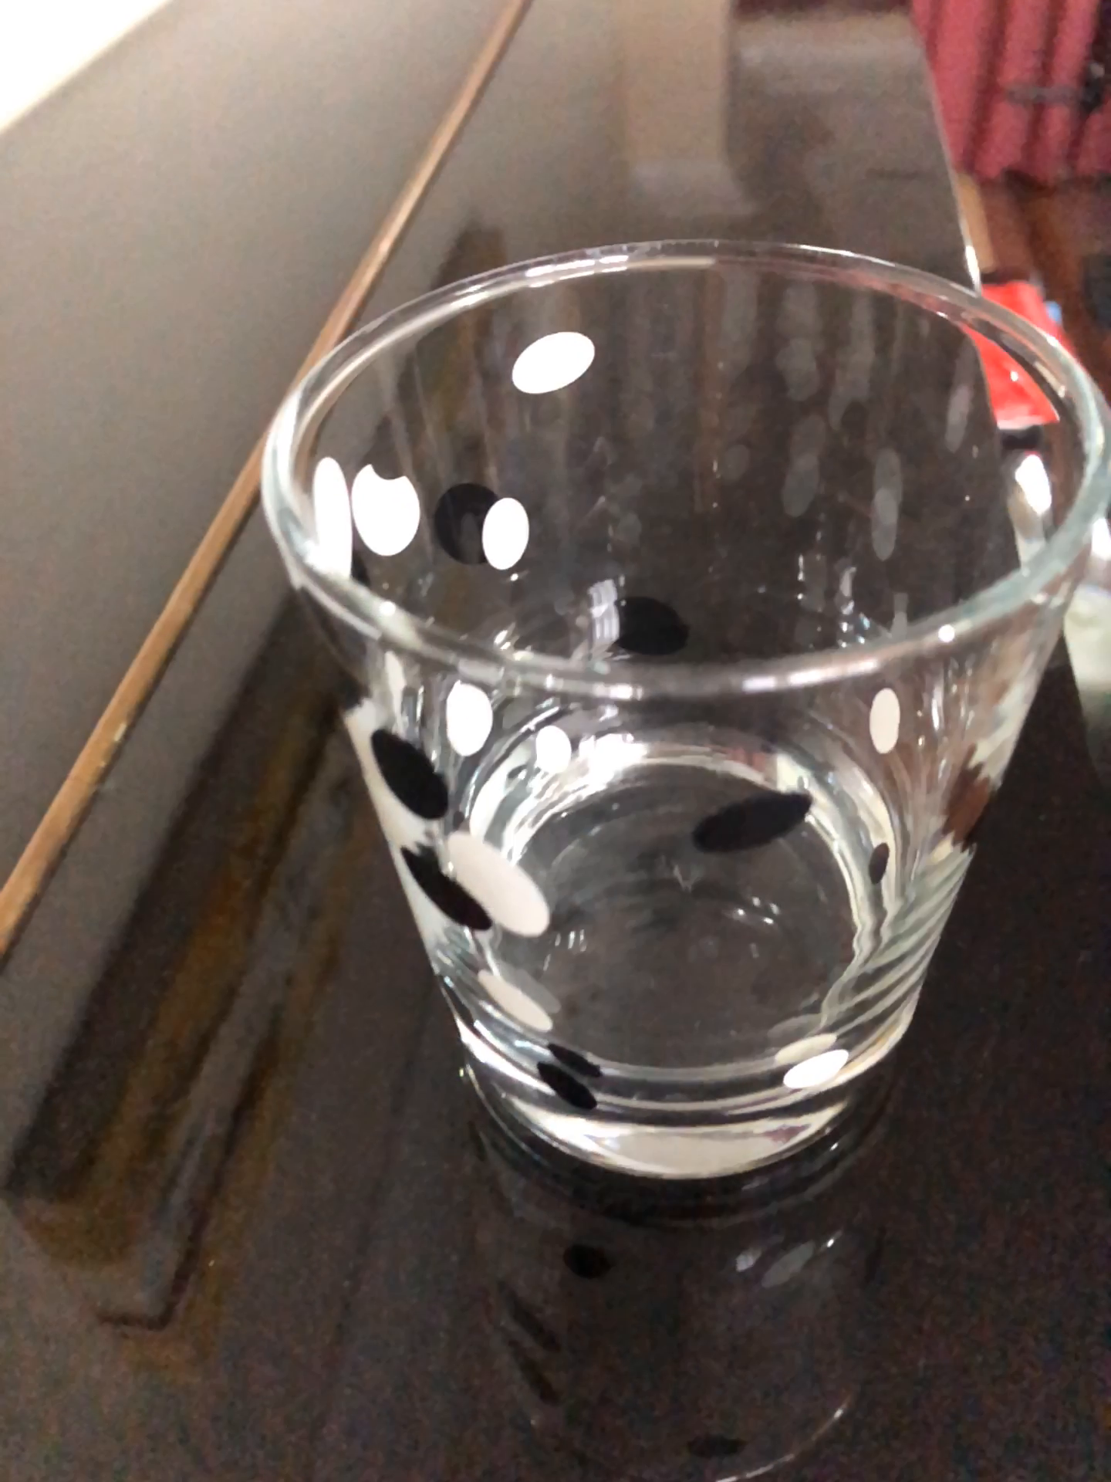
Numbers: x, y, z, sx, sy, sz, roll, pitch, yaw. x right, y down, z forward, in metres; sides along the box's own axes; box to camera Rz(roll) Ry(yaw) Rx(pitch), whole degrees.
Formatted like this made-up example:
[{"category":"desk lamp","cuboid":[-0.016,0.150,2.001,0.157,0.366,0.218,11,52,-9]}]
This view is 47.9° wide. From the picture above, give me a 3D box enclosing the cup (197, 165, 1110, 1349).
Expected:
[{"category":"cup","cuboid":[0.012,0.001,0.152,0.070,0.099,0.081,-20,45,-15]}]
